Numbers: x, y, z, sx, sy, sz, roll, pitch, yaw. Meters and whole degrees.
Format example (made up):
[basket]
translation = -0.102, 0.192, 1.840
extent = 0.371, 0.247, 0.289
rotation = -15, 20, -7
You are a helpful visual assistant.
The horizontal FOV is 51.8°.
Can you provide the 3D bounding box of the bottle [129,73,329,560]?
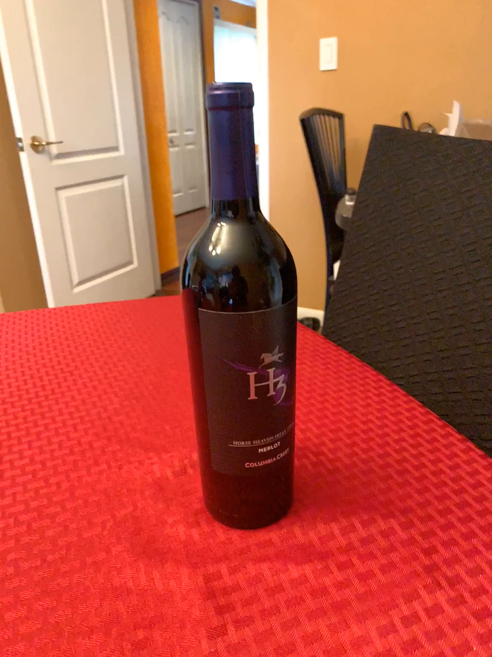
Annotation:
[bottle]
translation = -0.008, -0.002, 0.331
extent = 0.080, 0.289, 0.080
rotation = -1, 23, 1
